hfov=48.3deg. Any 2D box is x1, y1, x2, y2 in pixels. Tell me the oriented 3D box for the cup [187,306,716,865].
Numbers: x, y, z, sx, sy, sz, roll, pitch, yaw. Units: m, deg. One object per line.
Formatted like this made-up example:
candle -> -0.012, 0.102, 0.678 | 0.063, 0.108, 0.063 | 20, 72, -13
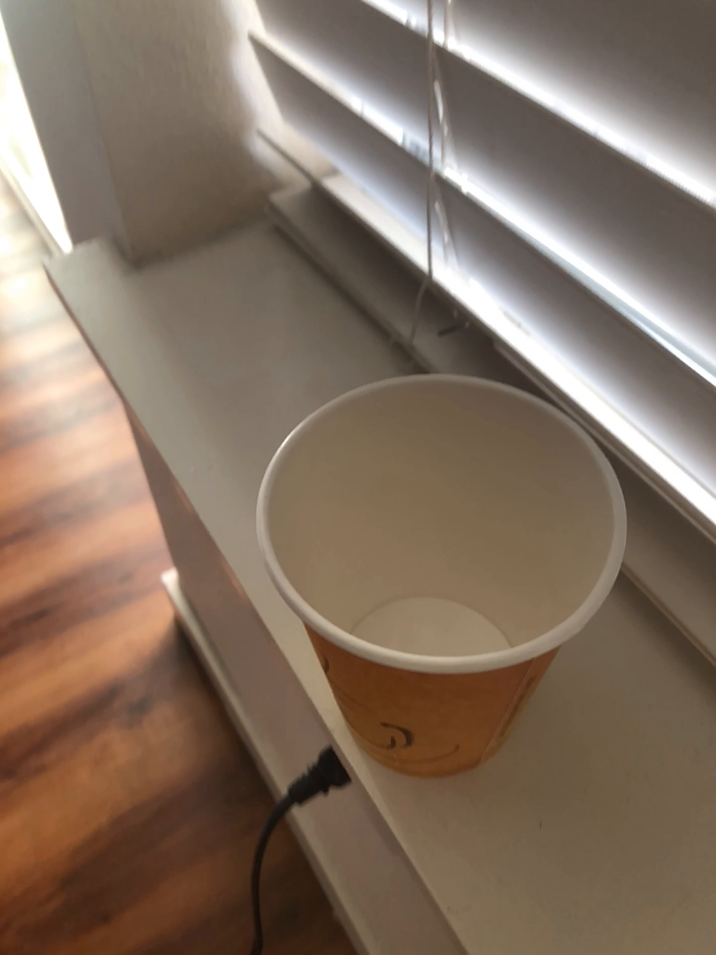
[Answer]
cup -> 0.021, 0.028, 0.225 | 0.093, 0.088, 0.096 | -1, 50, 1
